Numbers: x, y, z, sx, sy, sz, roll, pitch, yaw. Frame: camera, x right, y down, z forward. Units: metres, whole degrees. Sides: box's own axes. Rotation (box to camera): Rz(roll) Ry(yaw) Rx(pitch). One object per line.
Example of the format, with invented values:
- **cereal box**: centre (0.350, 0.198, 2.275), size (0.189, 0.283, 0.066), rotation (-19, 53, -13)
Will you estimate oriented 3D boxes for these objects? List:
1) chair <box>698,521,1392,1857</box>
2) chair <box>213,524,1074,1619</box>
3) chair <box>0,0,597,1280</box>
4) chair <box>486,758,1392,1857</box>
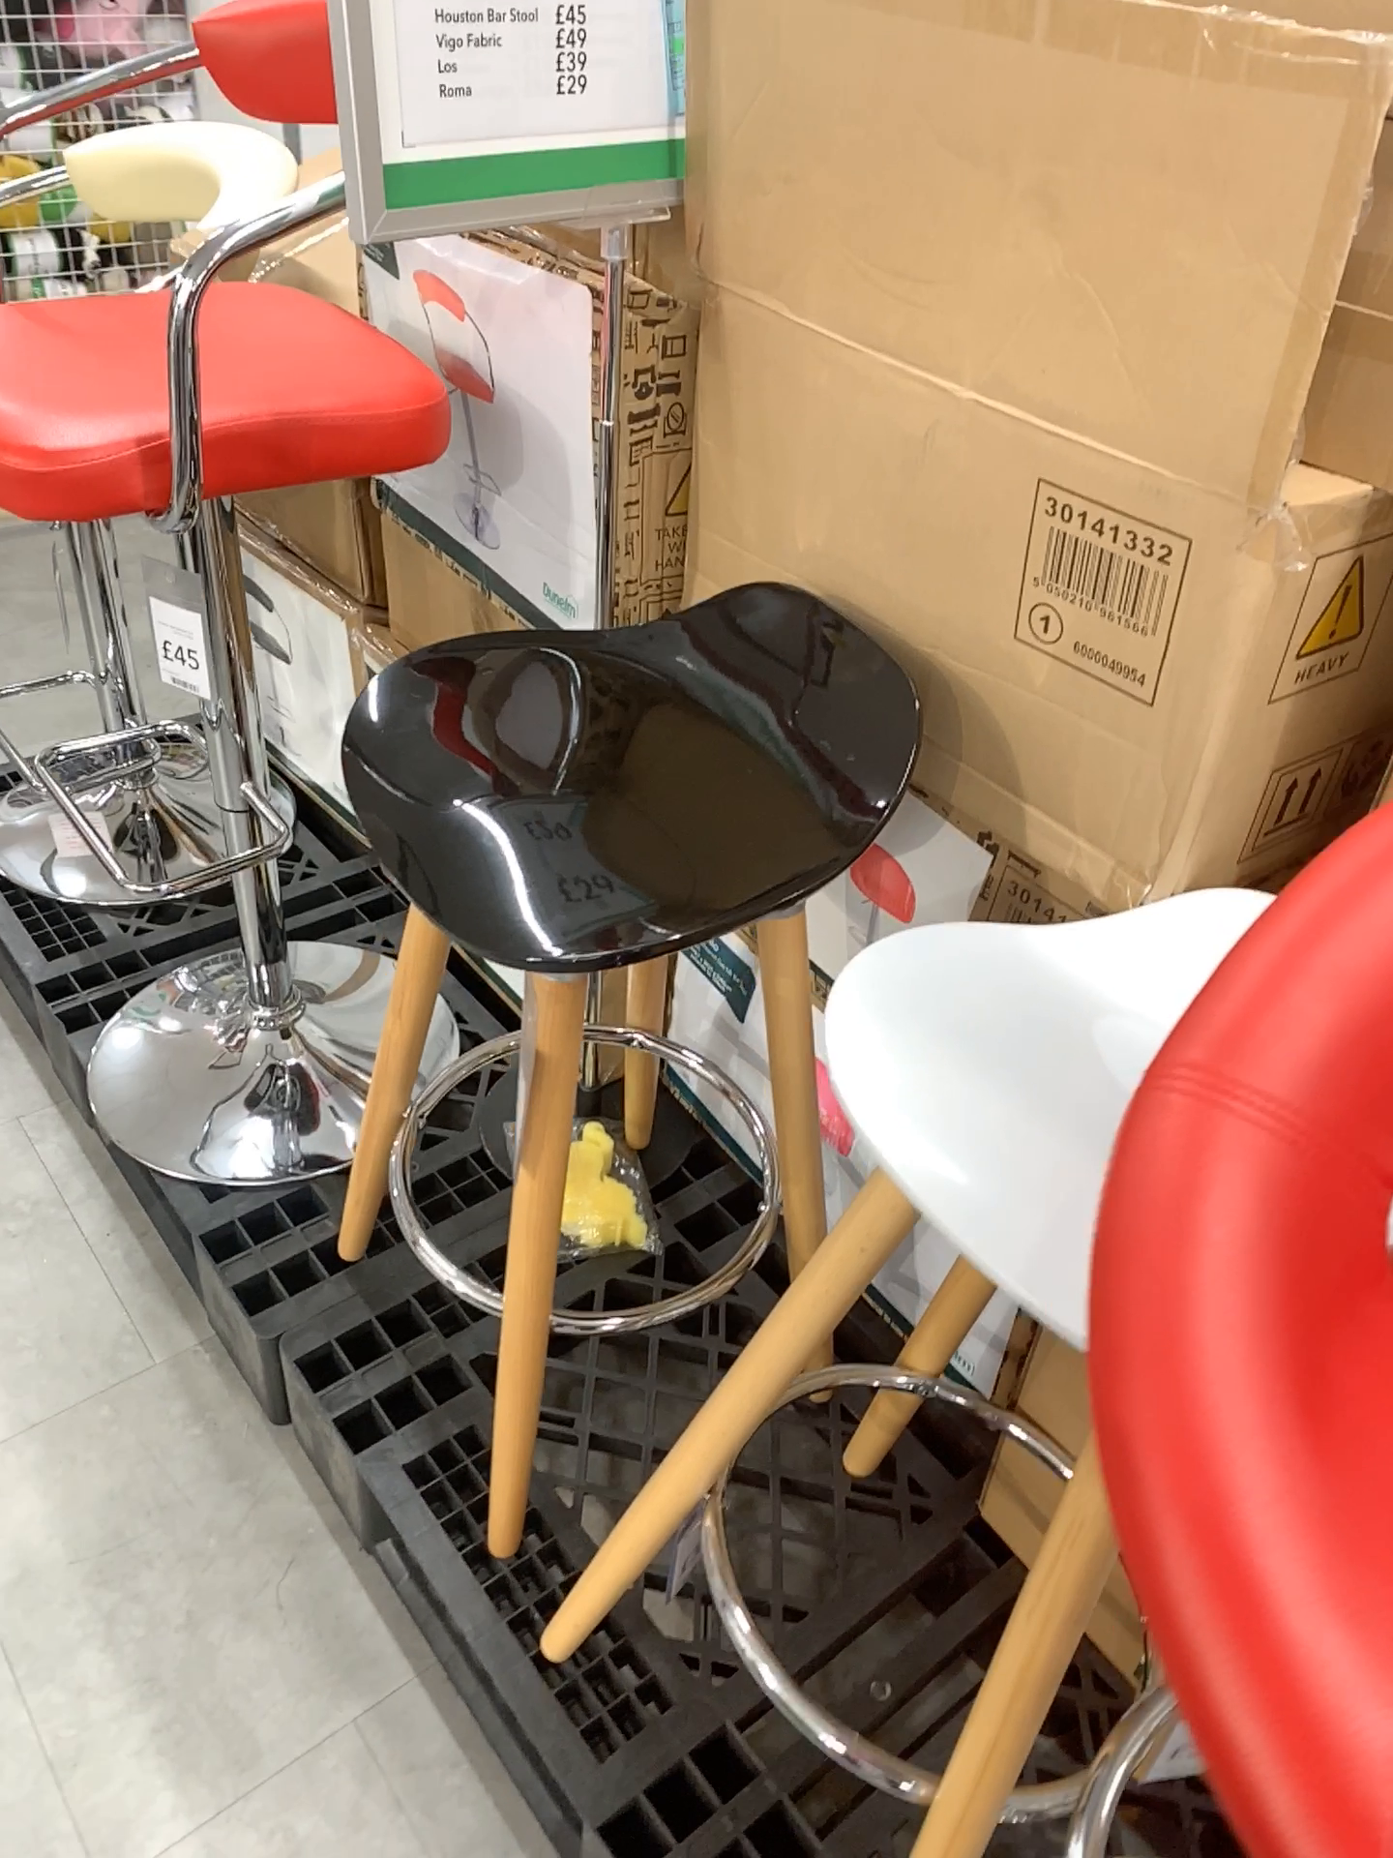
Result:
- **chair**: centre (0.380, 0.437, 0.569), size (0.451, 0.980, 0.511), rotation (-25, 46, -35)
- **chair**: centre (-0.079, 0.098, 1.158), size (0.430, 0.673, 0.432), rotation (-16, 41, -28)
- **chair**: centre (-0.466, -0.291, 1.349), size (0.451, 1.029, 0.552), rotation (-25, 46, -35)
- **chair**: centre (0.176, 0.328, 0.931), size (0.481, 0.663, 0.411), rotation (-21, 44, -32)
